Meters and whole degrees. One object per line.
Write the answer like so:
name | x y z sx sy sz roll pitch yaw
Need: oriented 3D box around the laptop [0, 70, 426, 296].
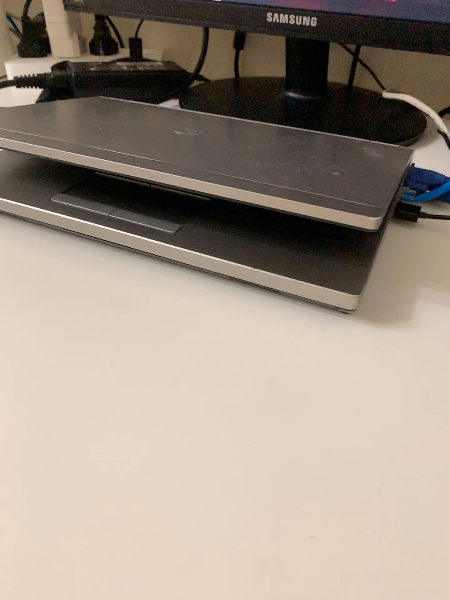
laptop | -0.025 -0.108 0.332 0.293 0.029 0.184 17 44 19
